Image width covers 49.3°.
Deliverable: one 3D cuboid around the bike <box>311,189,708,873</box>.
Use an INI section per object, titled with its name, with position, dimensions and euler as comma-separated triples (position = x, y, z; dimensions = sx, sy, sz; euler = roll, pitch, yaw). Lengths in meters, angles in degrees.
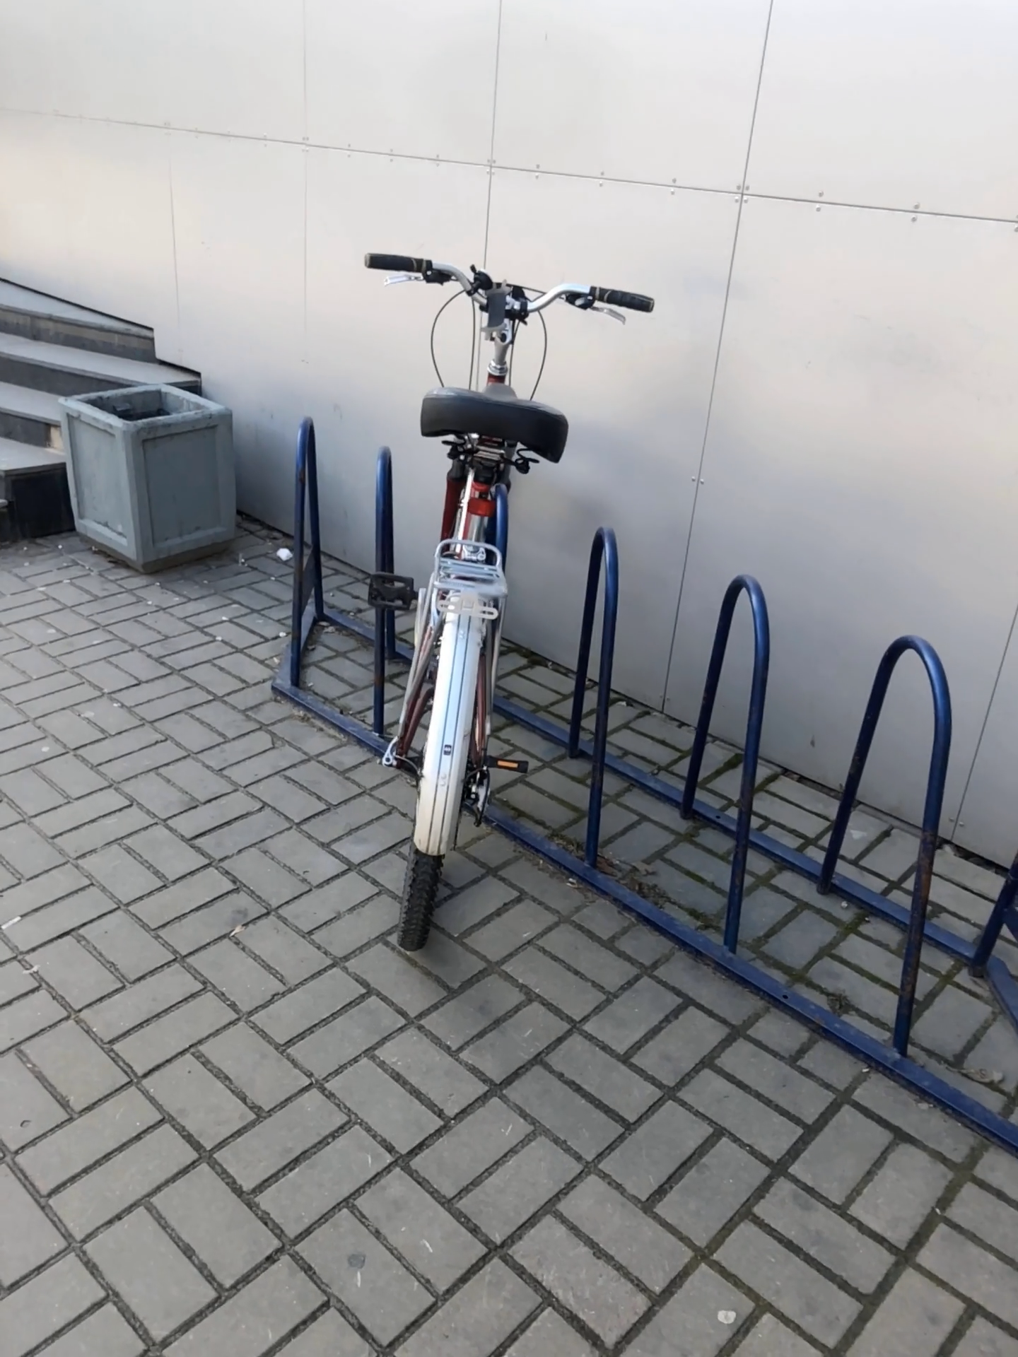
[bike]
position = 0.025, -0.428, 2.430
dimensions = 0.595, 0.972, 1.313
euler = 5, 29, 2
